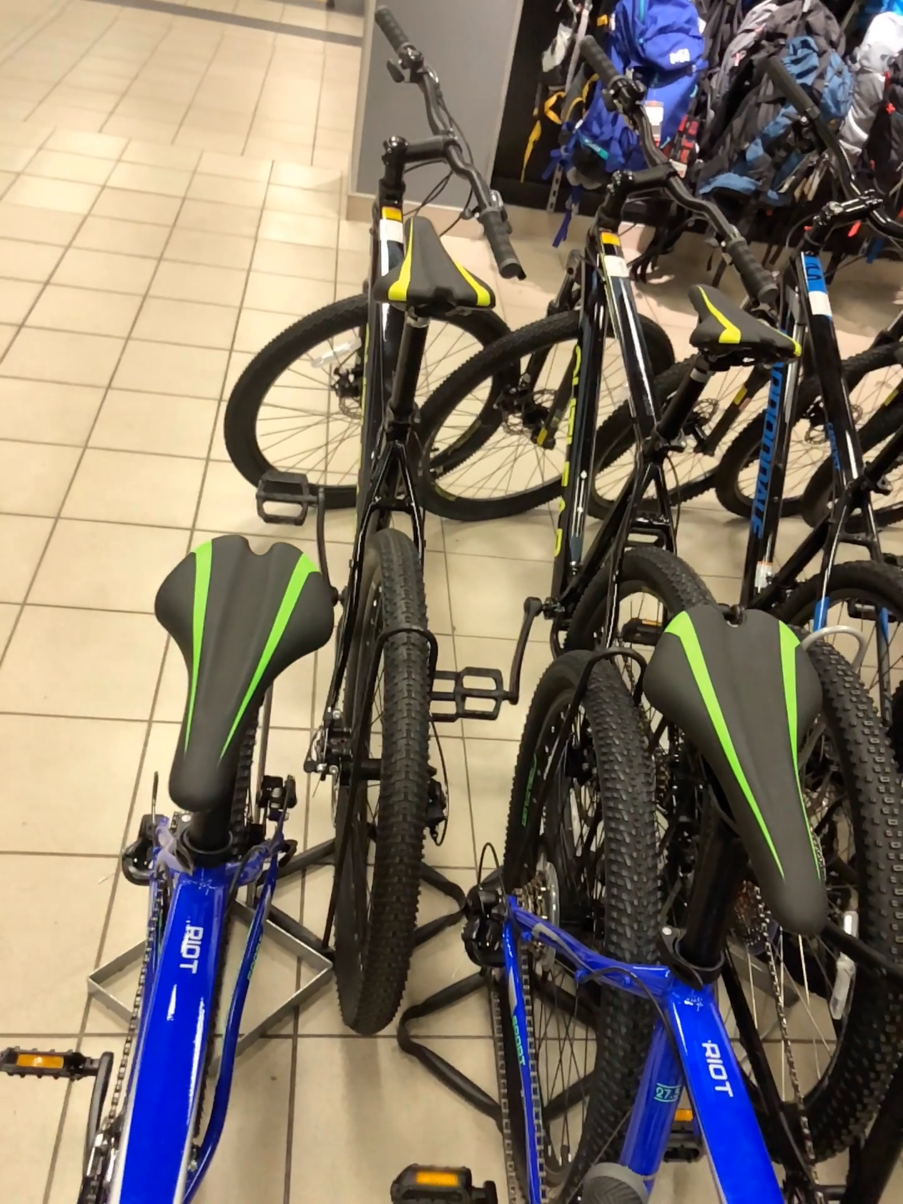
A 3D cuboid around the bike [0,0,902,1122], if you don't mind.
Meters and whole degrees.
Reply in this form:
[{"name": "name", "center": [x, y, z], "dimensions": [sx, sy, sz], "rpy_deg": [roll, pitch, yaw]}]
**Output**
[{"name": "bike", "center": [-0.316, -0.152, 1.506], "dimensions": [0.662, 1.044, 1.358], "rpy_deg": [-2, 39, -17]}]
